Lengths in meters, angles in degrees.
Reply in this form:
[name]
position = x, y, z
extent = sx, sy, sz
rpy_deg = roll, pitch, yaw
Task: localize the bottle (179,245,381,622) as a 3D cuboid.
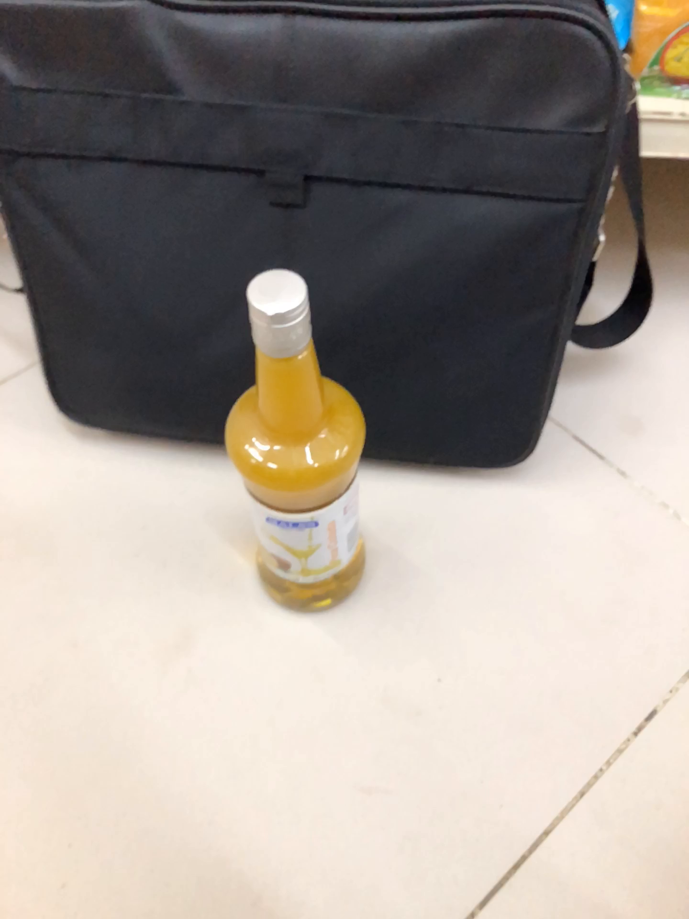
[bottle]
position = -0.026, 0.007, 0.485
extent = 0.090, 0.289, 0.080
rpy_deg = 1, 55, 2
